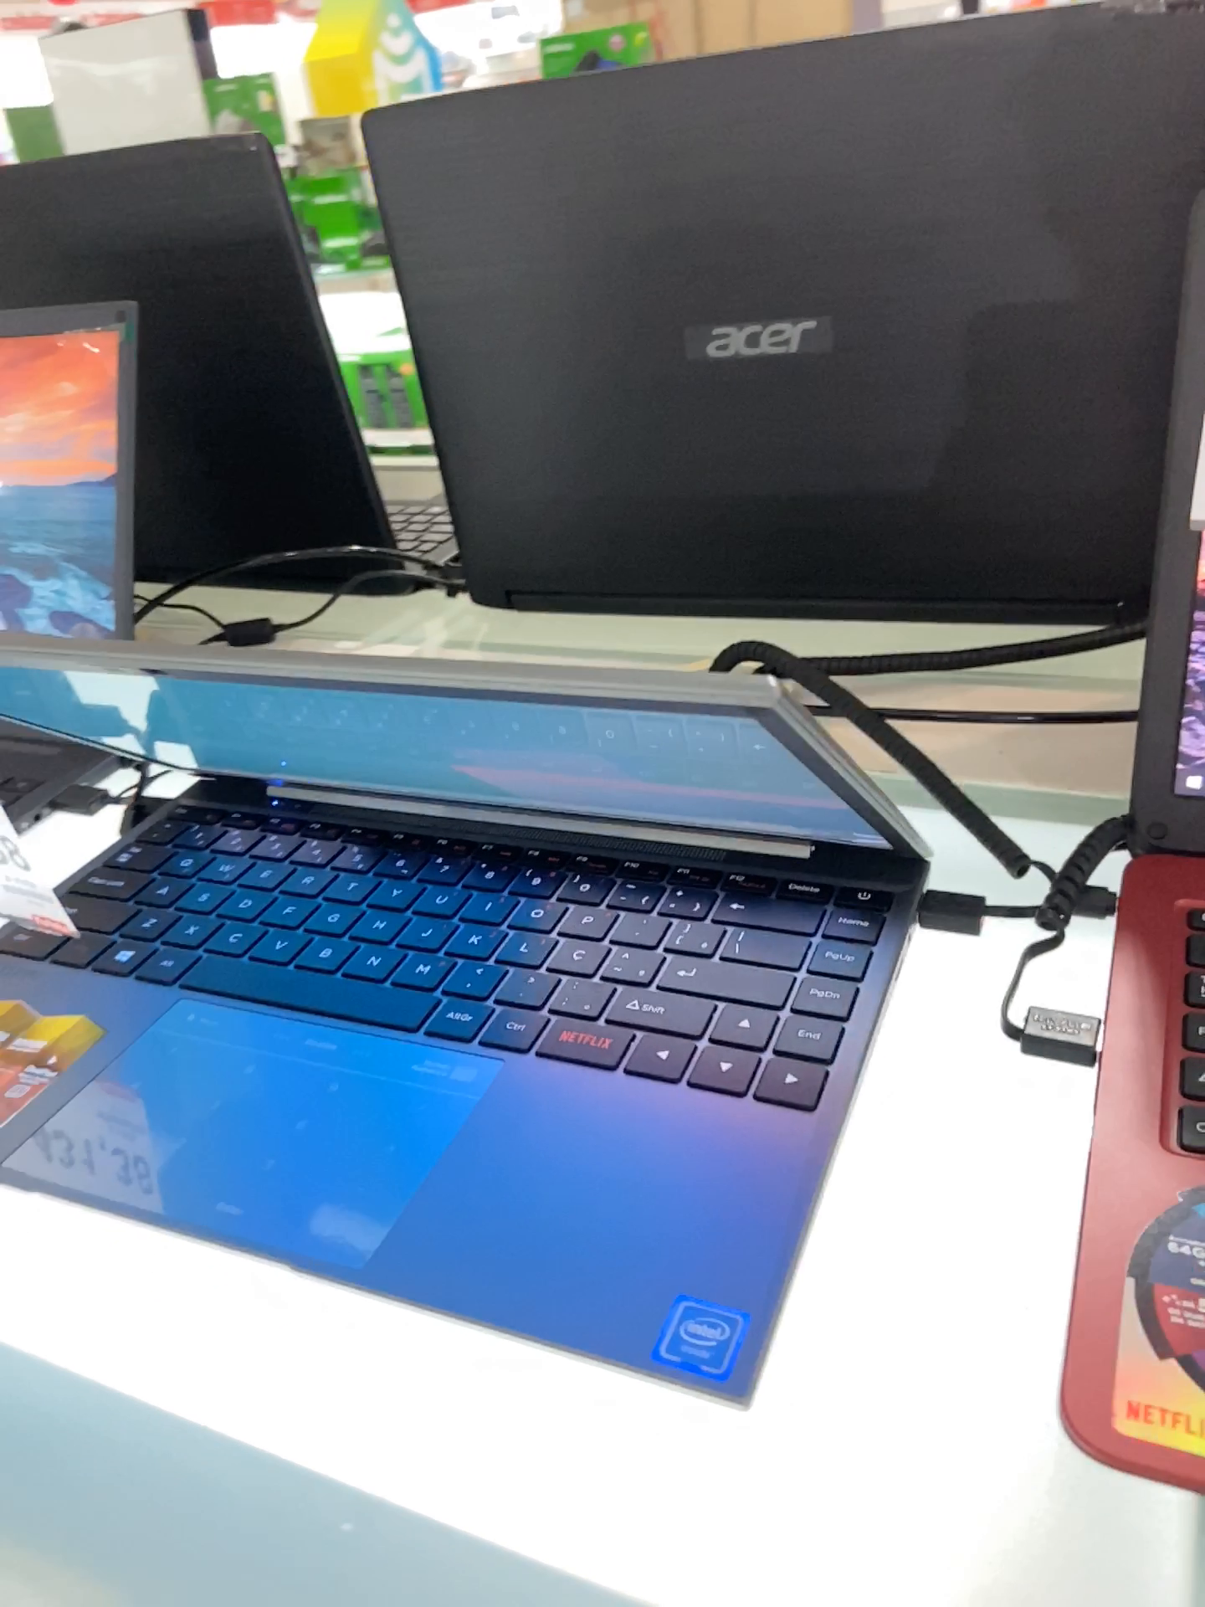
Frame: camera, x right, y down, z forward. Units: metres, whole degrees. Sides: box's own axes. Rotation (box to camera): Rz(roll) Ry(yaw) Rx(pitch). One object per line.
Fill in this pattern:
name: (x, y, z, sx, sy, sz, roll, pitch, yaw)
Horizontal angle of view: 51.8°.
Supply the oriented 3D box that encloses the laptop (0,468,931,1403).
laptop: (-0.086, 0.000, 0.381, 0.327, 0.139, 0.212, 6, 32, 24)
